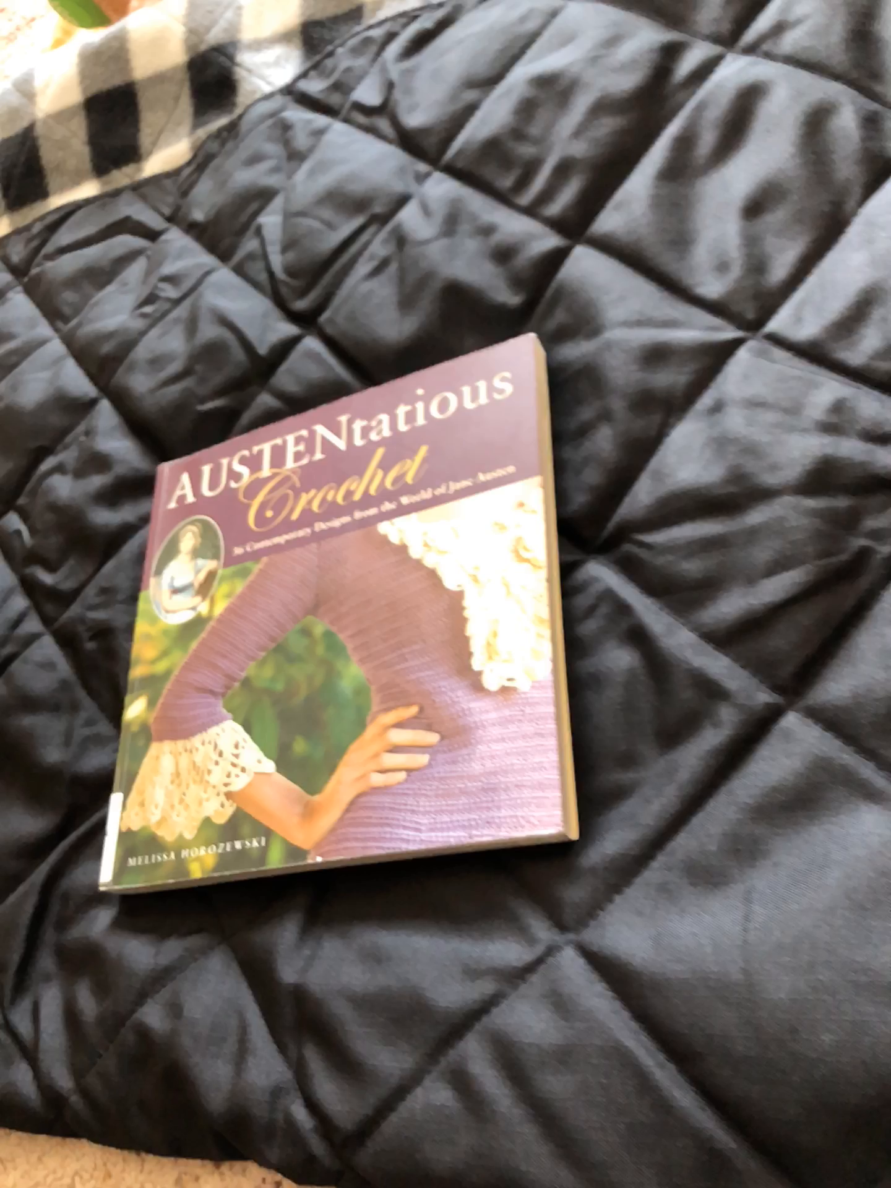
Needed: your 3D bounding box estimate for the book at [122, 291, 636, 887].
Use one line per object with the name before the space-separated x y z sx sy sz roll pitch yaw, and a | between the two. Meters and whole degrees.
book | -0.035 -0.001 0.434 0.221 0.020 0.230 -14 59 26
